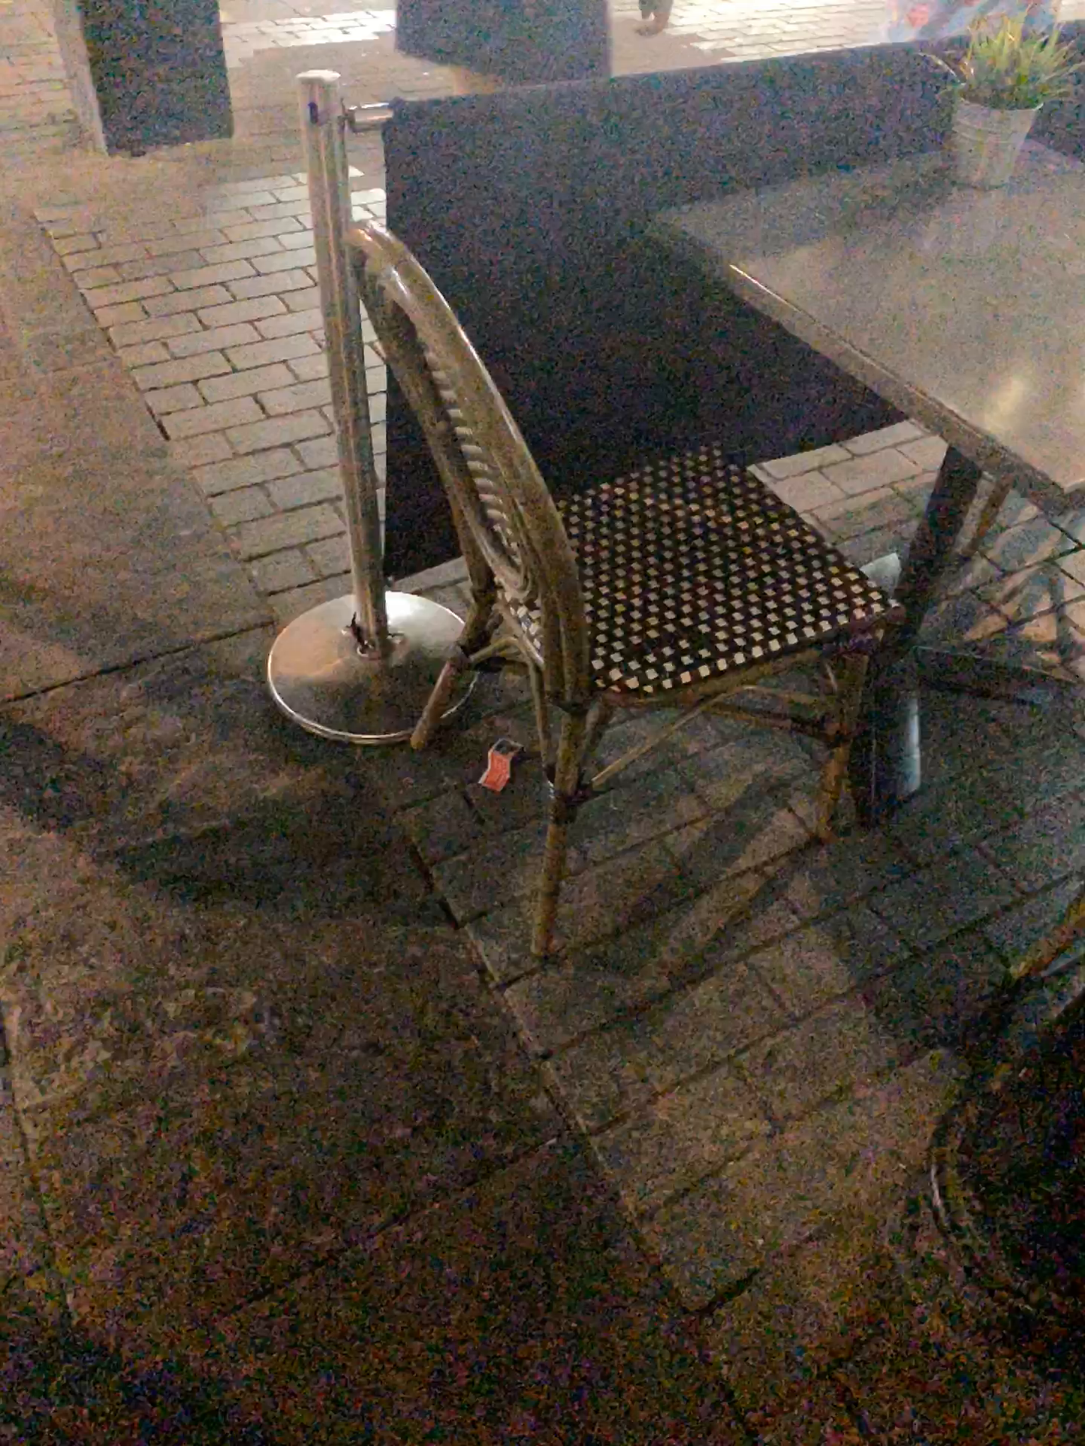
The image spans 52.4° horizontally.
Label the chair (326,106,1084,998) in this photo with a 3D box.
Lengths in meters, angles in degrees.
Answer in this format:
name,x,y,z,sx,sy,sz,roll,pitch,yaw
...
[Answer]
name,x,y,z,sx,sy,sz,roll,pitch,yaw
chair,0.147,-0.199,1.332,0.601,0.792,0.514,-20,51,-22
